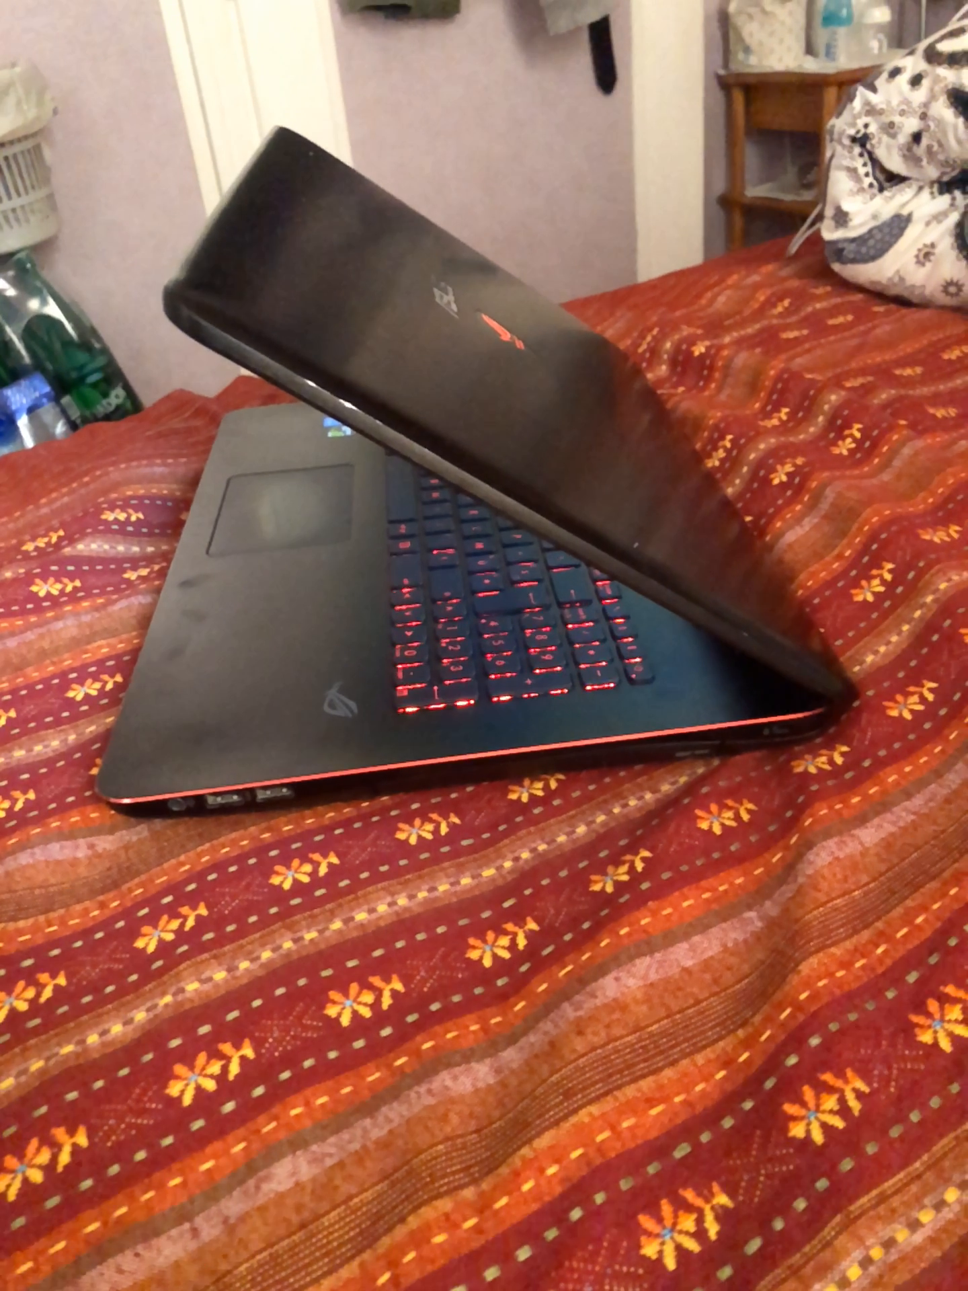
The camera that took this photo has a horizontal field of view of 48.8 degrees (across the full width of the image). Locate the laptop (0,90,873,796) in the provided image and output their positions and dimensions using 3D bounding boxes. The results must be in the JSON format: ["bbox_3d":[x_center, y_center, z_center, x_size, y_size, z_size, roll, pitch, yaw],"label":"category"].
[{"bbox_3d":[-0.030,-0.140,0.511,0.267,0.168,0.401,-7,32,-1],"label":"laptop"}]
